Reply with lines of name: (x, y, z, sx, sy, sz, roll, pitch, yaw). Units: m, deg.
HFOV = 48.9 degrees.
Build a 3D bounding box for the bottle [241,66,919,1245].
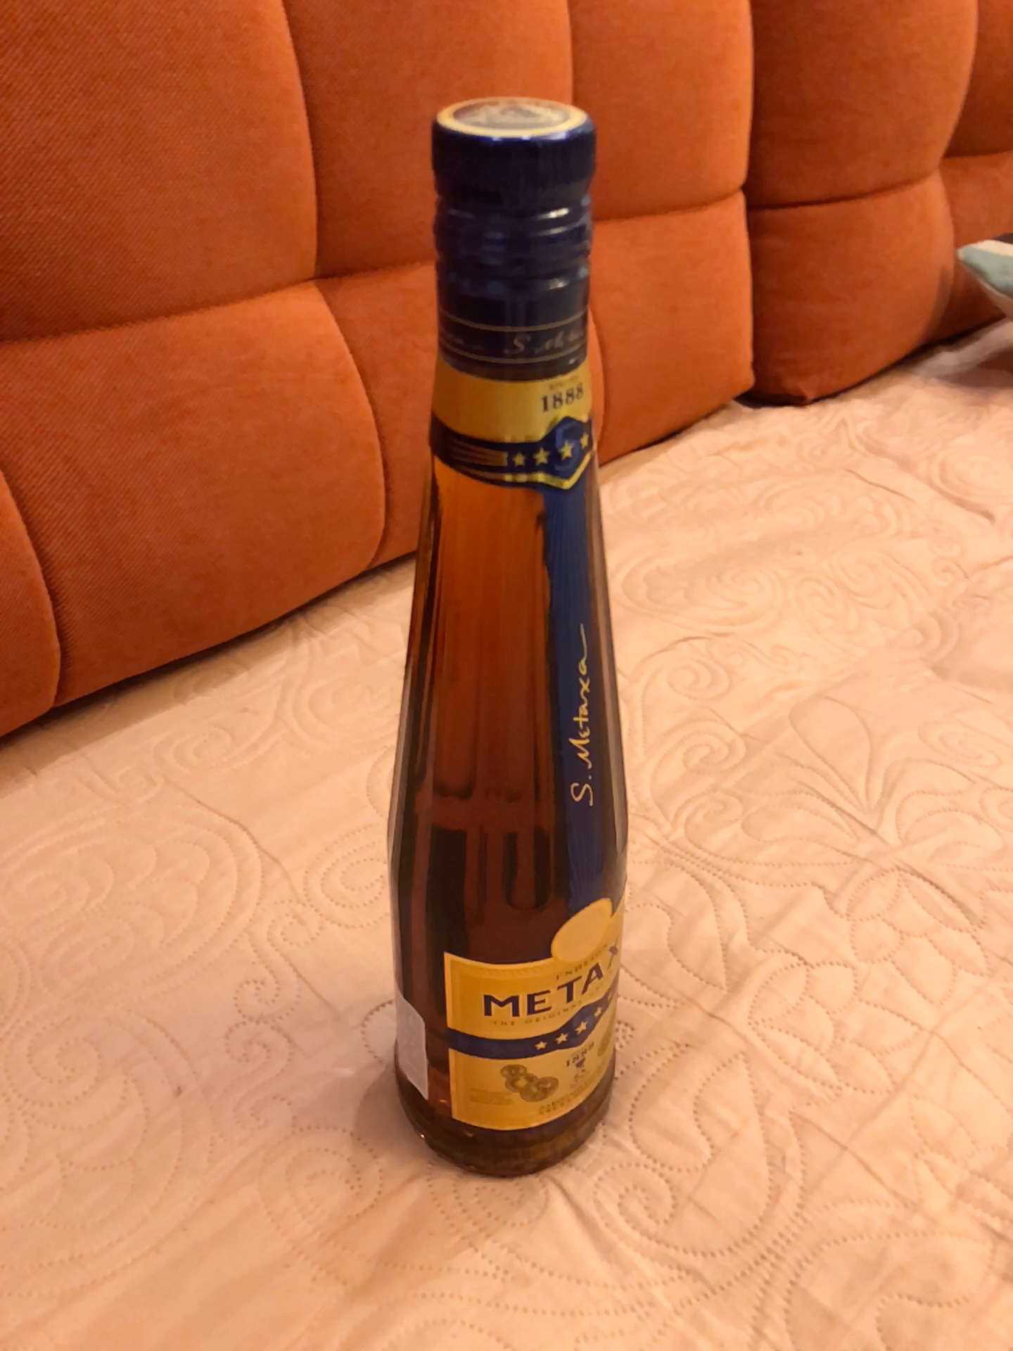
bottle: (0.005, 0.014, 0.308, 0.100, 0.308, 0.090, -17, 40, -26)
